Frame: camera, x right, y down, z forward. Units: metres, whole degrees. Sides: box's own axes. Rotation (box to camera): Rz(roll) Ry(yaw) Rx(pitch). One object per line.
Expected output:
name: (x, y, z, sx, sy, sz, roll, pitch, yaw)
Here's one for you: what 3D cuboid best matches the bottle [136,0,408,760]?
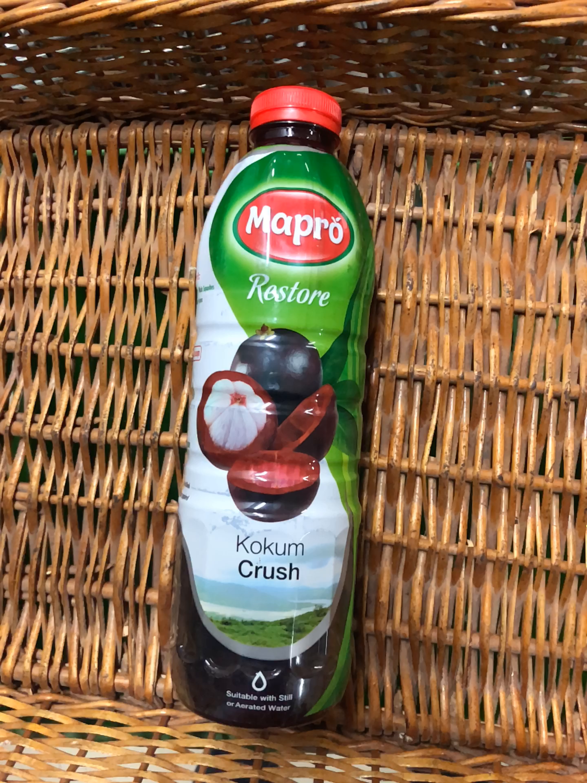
bottle: (-0.004, -0.009, 0.272, 0.080, 0.080, 0.270, 3, 88, 4)
